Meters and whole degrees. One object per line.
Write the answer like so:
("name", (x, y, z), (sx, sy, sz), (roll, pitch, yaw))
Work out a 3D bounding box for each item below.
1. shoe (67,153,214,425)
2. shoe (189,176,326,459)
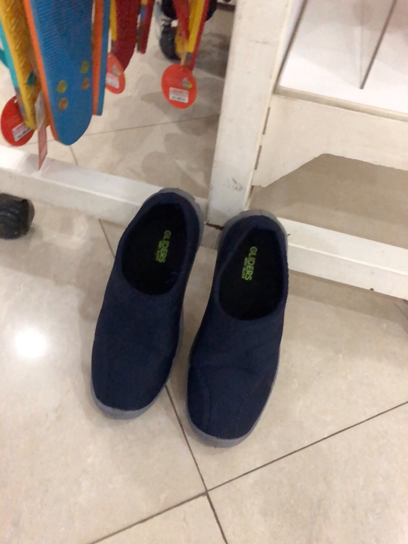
("shoe", (-0.106, 0.036, 0.886), (0.160, 0.200, 0.461), (11, 77, 0))
("shoe", (0.106, 0.087, 0.910), (0.186, 0.207, 0.490), (9, 75, 3))
